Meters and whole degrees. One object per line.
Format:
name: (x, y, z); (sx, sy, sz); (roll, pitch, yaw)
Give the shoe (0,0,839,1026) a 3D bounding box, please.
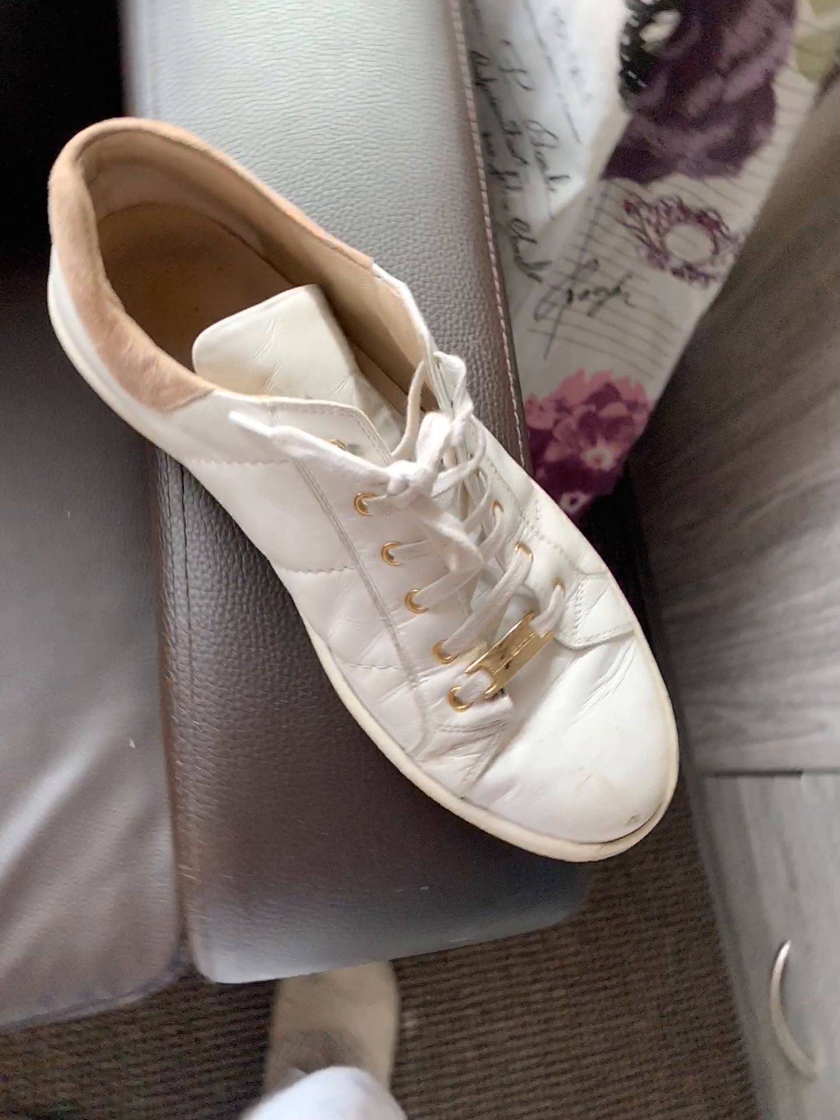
shoe: (-0.004, -0.025, 0.253); (0.110, 0.110, 0.270); (-43, 87, -17)
